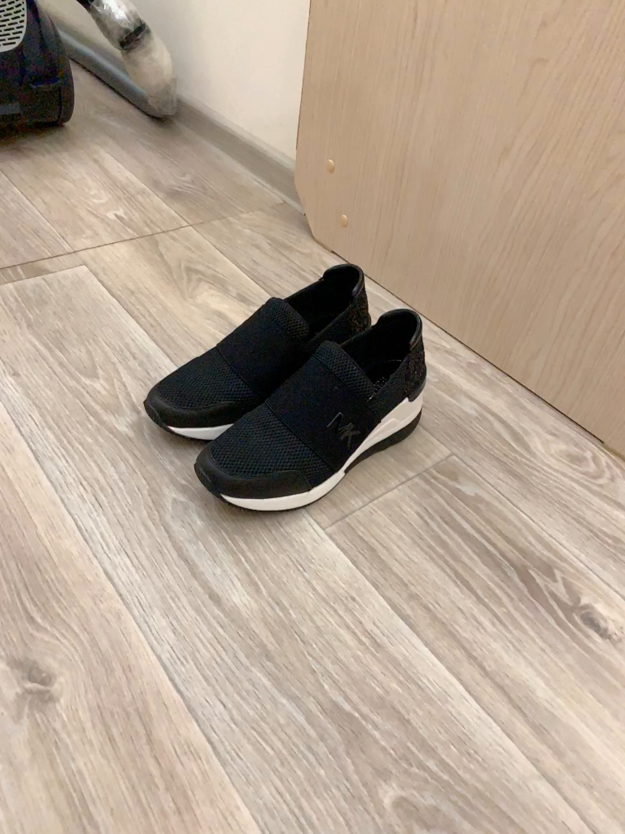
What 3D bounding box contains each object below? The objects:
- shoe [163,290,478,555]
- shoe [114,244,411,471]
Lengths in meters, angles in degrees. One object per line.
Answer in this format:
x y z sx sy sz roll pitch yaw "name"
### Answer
0.010 -0.006 0.579 0.261 0.119 0.099 -24 52 -30 "shoe"
-0.044 -0.067 0.631 0.261 0.119 0.099 -22 51 -28 "shoe"
